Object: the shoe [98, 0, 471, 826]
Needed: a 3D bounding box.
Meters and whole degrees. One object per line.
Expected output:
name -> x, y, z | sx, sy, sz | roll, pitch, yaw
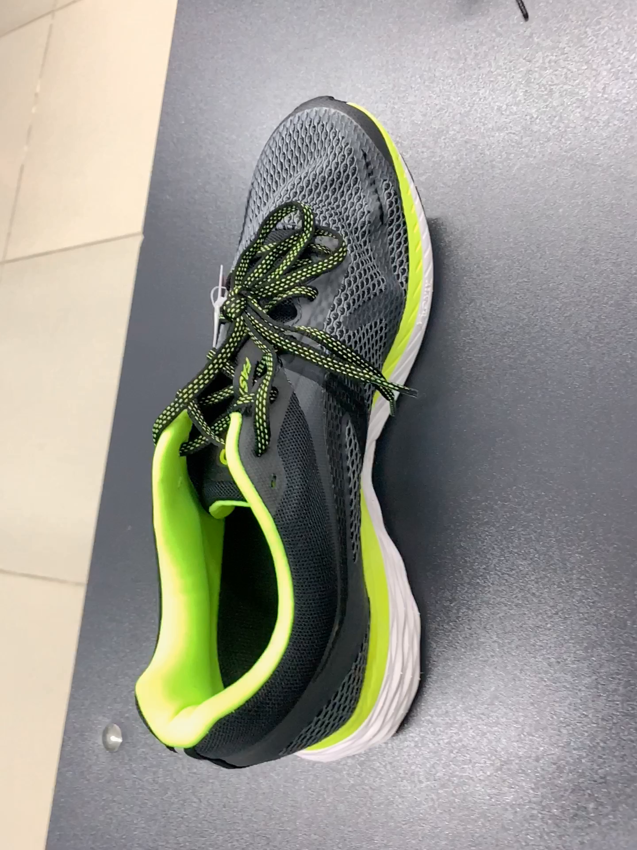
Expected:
shoe -> -0.001, -0.016, 0.304 | 0.110, 0.110, 0.310 | -3, 76, 29
